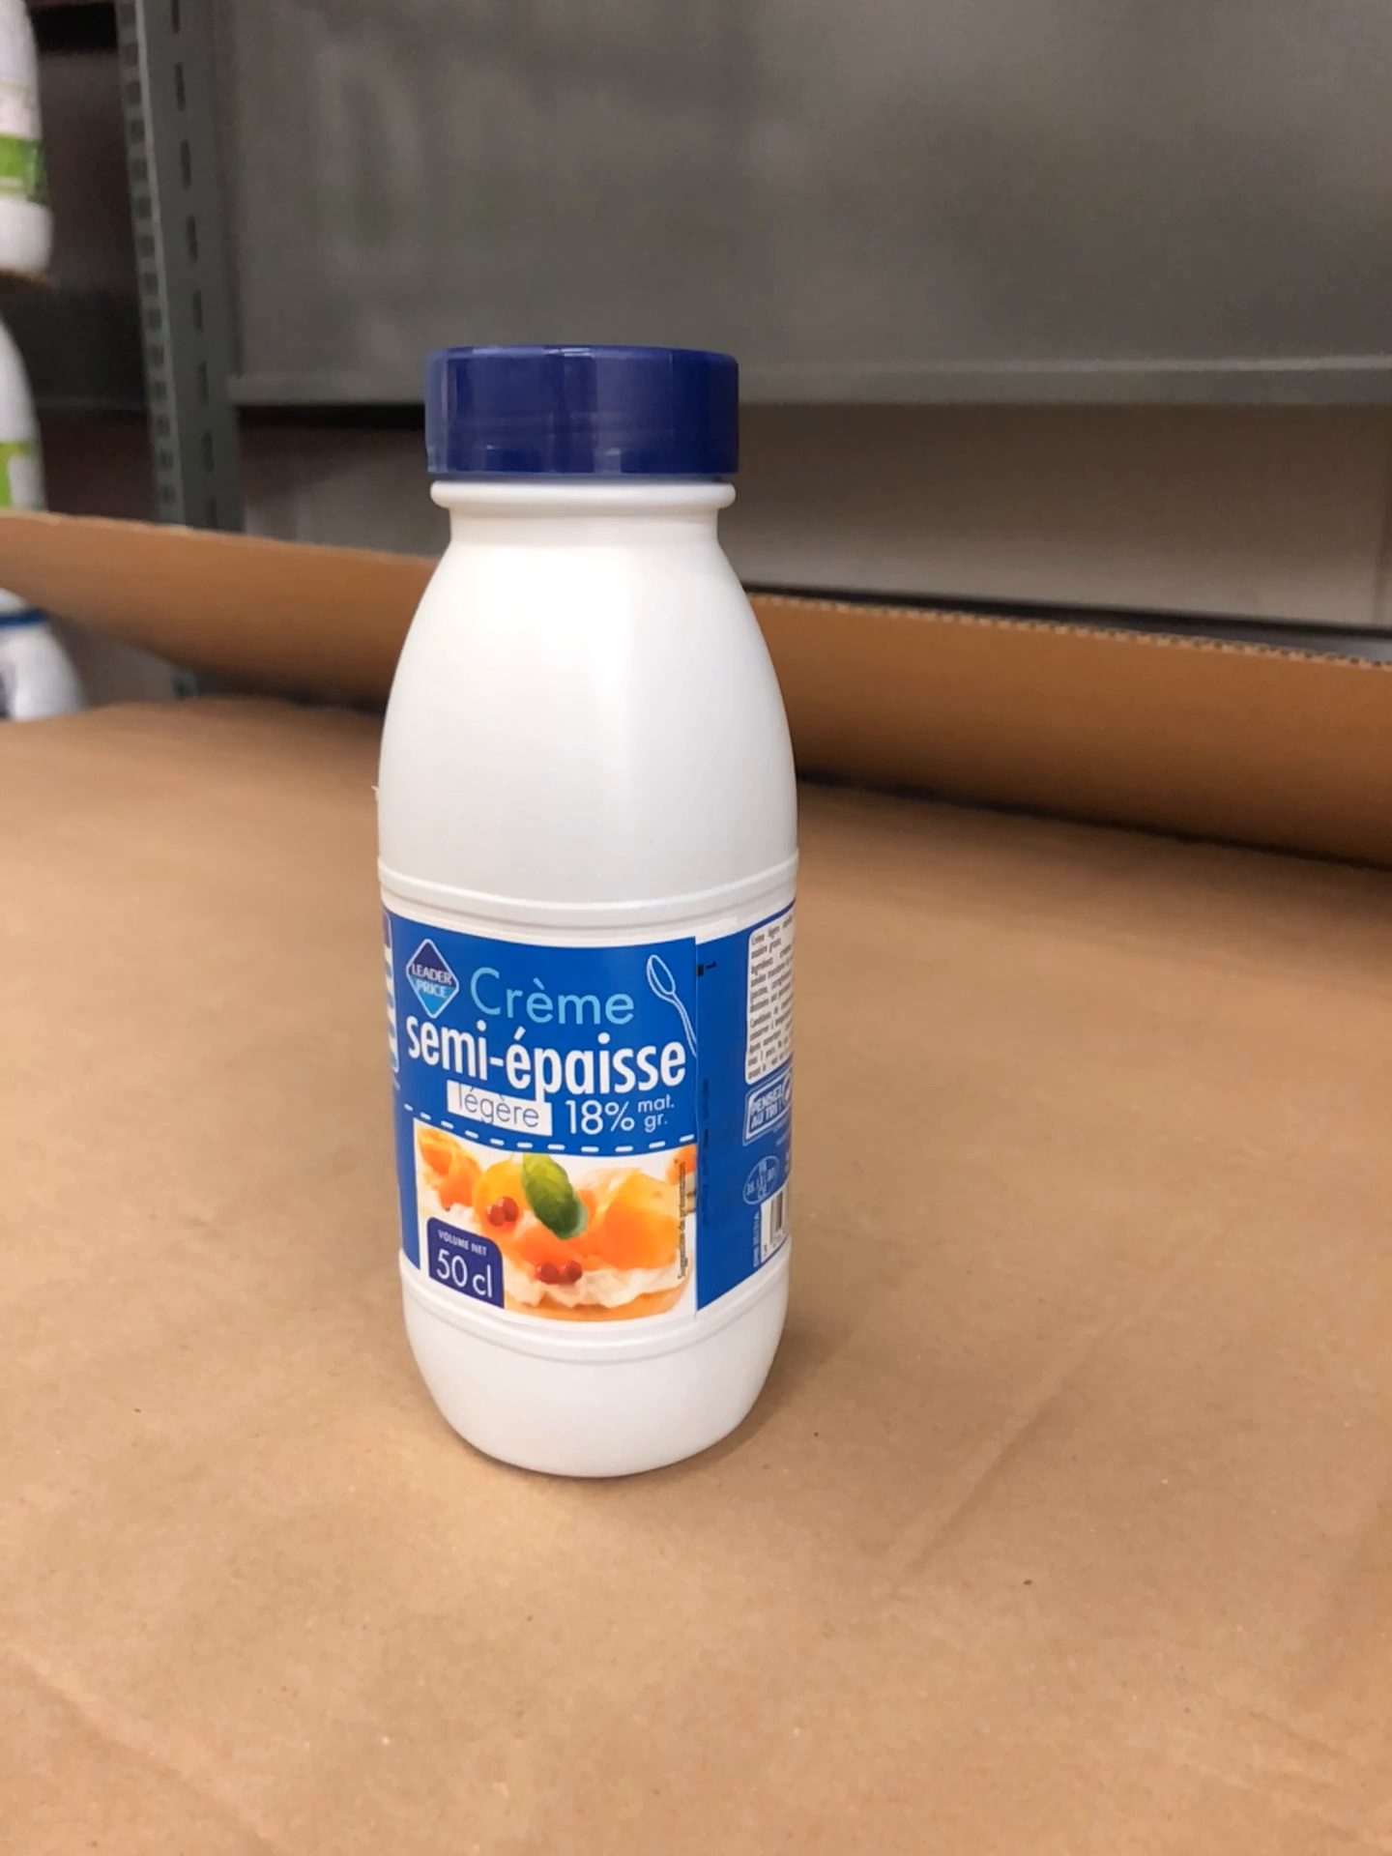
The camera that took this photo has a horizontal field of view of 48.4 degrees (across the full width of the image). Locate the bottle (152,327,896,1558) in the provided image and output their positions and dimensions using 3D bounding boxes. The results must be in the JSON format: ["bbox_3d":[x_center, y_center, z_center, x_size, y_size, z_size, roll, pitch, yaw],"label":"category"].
[{"bbox_3d":[-0.022,-0.005,0.255,0.080,0.169,0.080,1,16,0],"label":"bottle"}]
